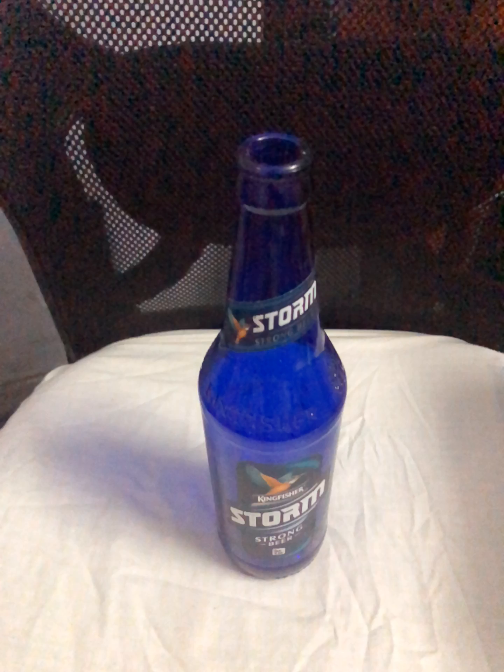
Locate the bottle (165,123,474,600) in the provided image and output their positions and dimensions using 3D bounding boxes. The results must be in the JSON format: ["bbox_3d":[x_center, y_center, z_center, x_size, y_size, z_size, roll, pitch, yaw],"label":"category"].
[{"bbox_3d":[0.014,0.041,0.262,0.080,0.259,0.070,-1,47,-2],"label":"bottle"}]
